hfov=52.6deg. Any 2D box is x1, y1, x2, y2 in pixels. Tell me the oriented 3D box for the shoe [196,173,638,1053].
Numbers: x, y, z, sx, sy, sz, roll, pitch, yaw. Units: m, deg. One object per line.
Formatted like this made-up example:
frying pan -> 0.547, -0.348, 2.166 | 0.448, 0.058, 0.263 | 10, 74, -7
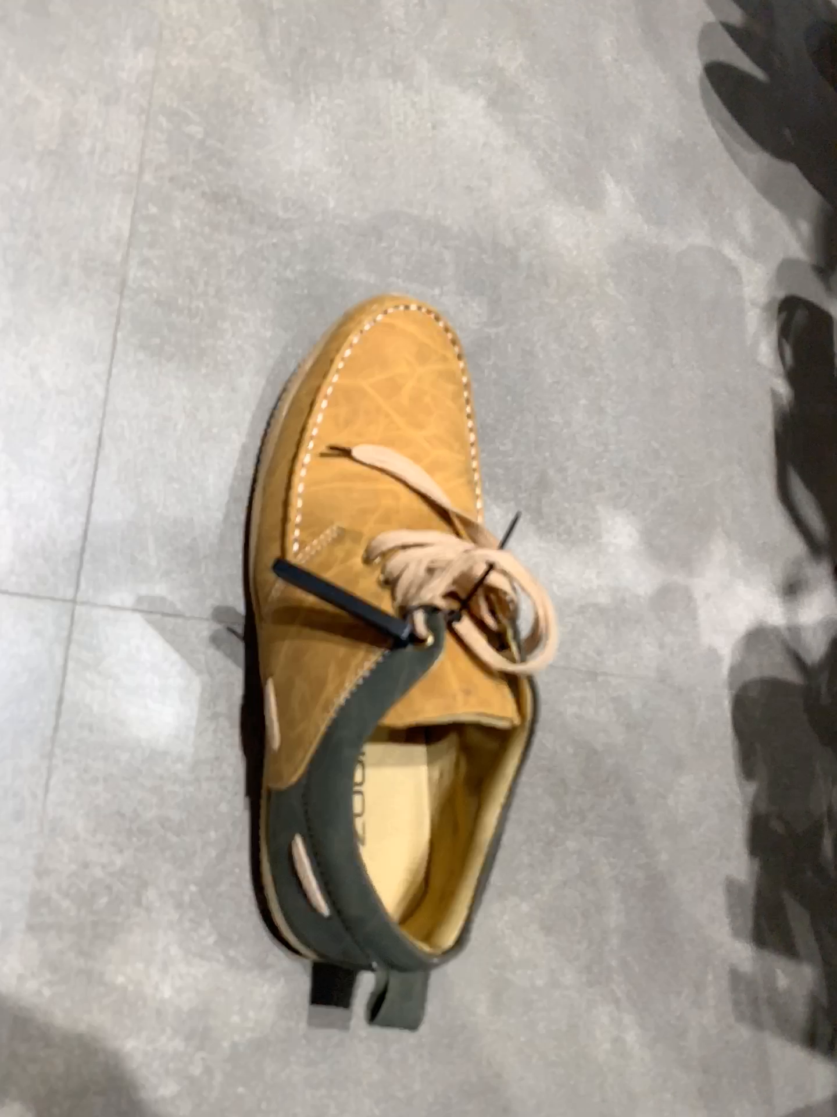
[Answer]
shoe -> -0.003, 0.019, 0.331 | 0.112, 0.117, 0.267 | 9, 74, -32
